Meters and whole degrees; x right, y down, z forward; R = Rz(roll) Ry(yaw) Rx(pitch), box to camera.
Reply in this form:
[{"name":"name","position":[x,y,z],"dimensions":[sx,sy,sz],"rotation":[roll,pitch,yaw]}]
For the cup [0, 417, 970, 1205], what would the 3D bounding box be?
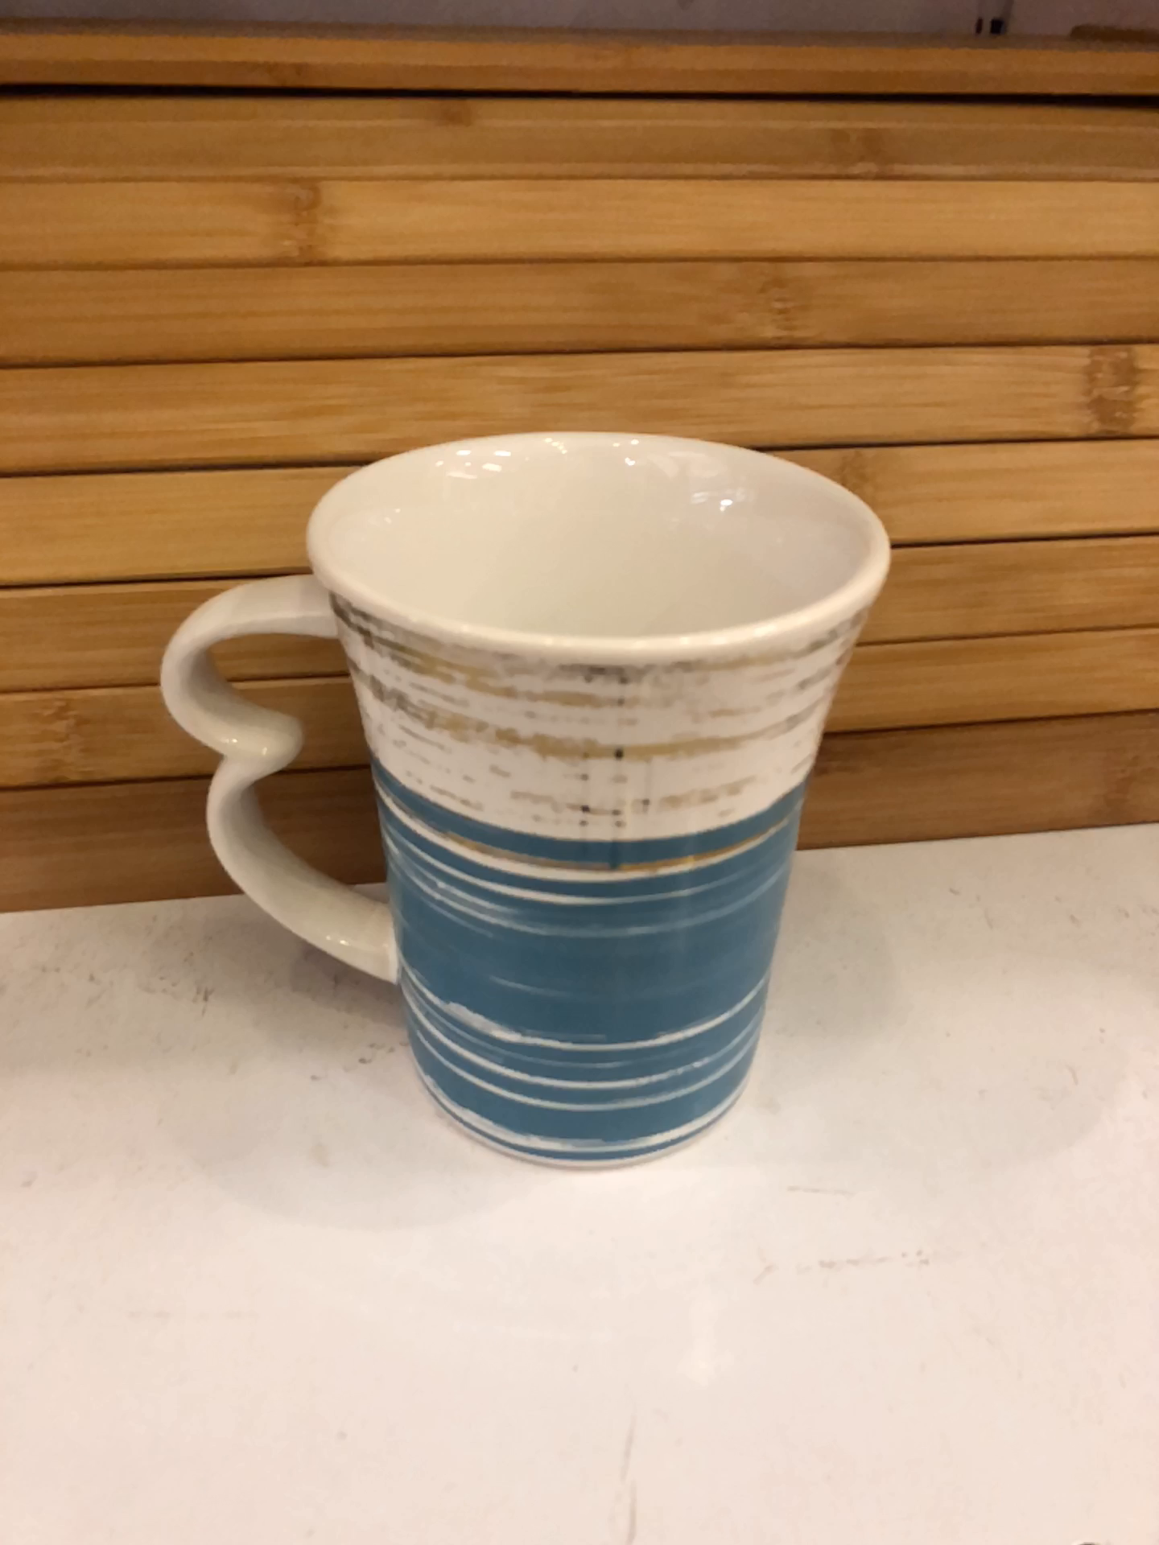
[{"name":"cup","position":[-0.014,0.001,0.211],"dimensions":[0.120,0.089,0.091],"rotation":[2,32,1]}]
